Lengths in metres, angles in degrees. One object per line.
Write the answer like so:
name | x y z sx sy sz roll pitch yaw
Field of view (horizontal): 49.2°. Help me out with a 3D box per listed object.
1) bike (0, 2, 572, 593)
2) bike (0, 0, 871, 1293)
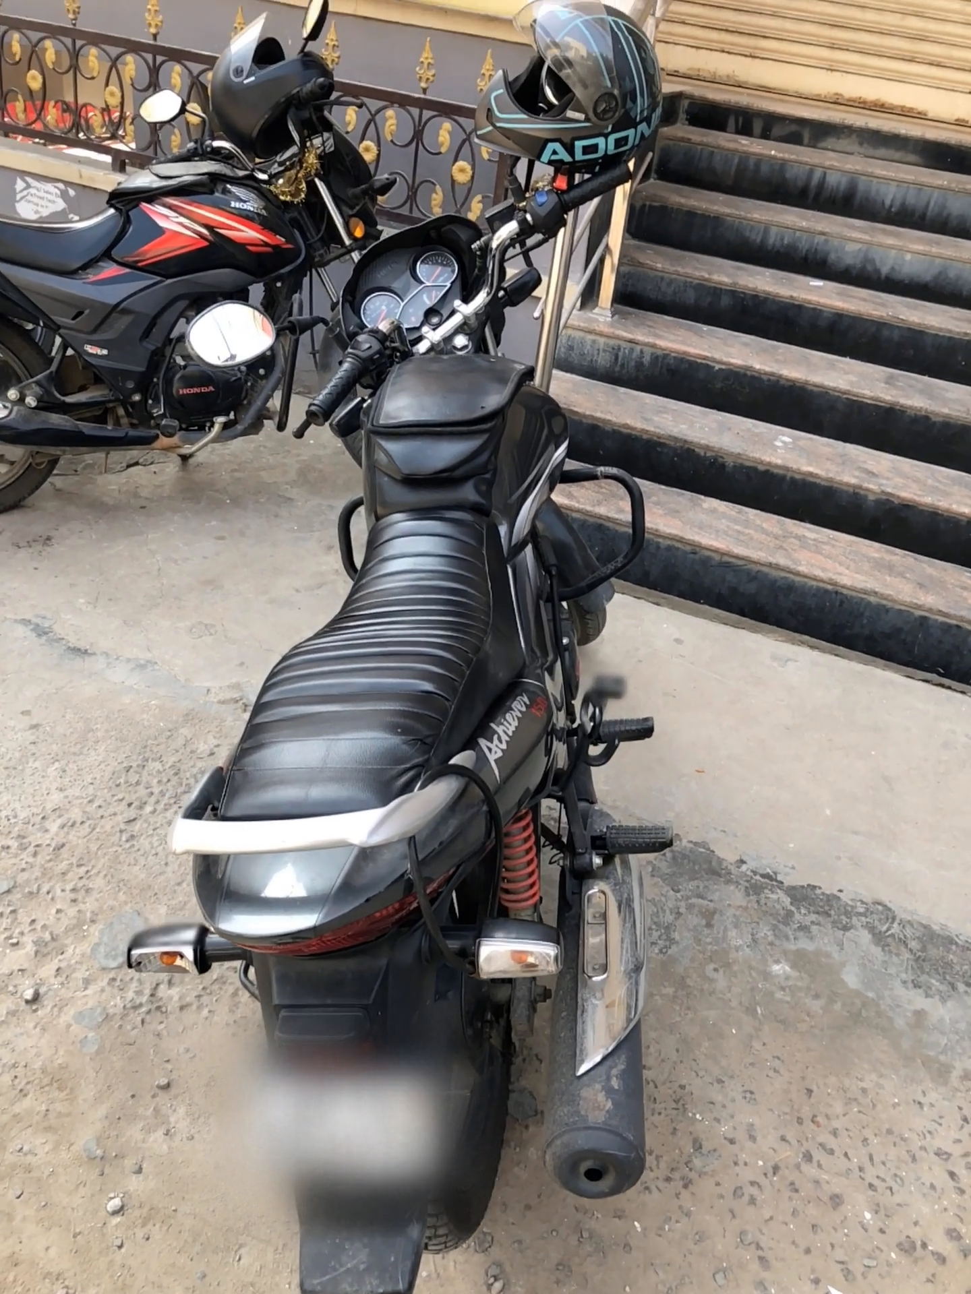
bike | -0.725 -0.860 2.683 1.602 1.056 0.686 -11 36 -31
bike | -0.226 -0.229 1.684 0.746 1.156 1.745 6 34 -5
